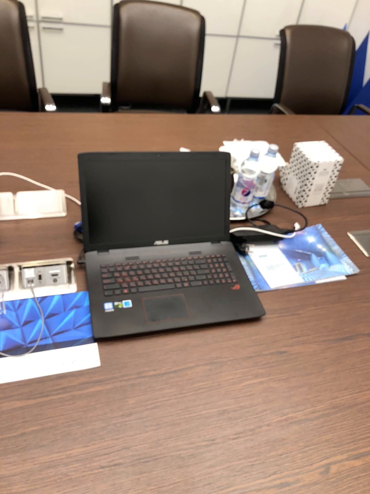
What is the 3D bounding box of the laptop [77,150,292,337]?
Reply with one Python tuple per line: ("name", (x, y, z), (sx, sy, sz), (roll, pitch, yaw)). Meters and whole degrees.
("laptop", (-0.034, -0.035, 0.938), (0.379, 0.194, 0.370), (-4, 44, -16))
